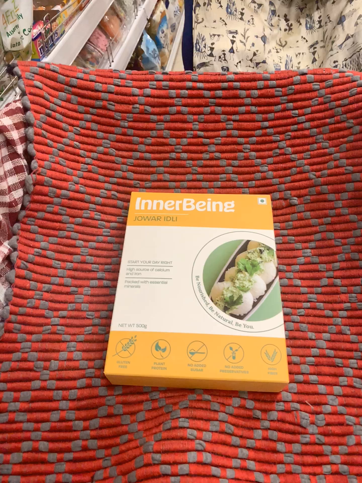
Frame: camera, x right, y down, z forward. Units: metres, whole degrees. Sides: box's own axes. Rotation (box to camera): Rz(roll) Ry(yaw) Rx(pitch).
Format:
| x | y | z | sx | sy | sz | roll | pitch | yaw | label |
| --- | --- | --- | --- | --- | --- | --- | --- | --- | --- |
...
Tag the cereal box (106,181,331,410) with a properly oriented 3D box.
| x | y | z | sx | sy | sz | roll | pitch | yaw | label |
| --- | --- | --- | --- | --- | --- | --- | --- | --- | --- |
| 0.026 | 0.039 | 0.334 | 0.150 | 0.070 | 0.190 | 1 | 52 | 1 | cereal box |
